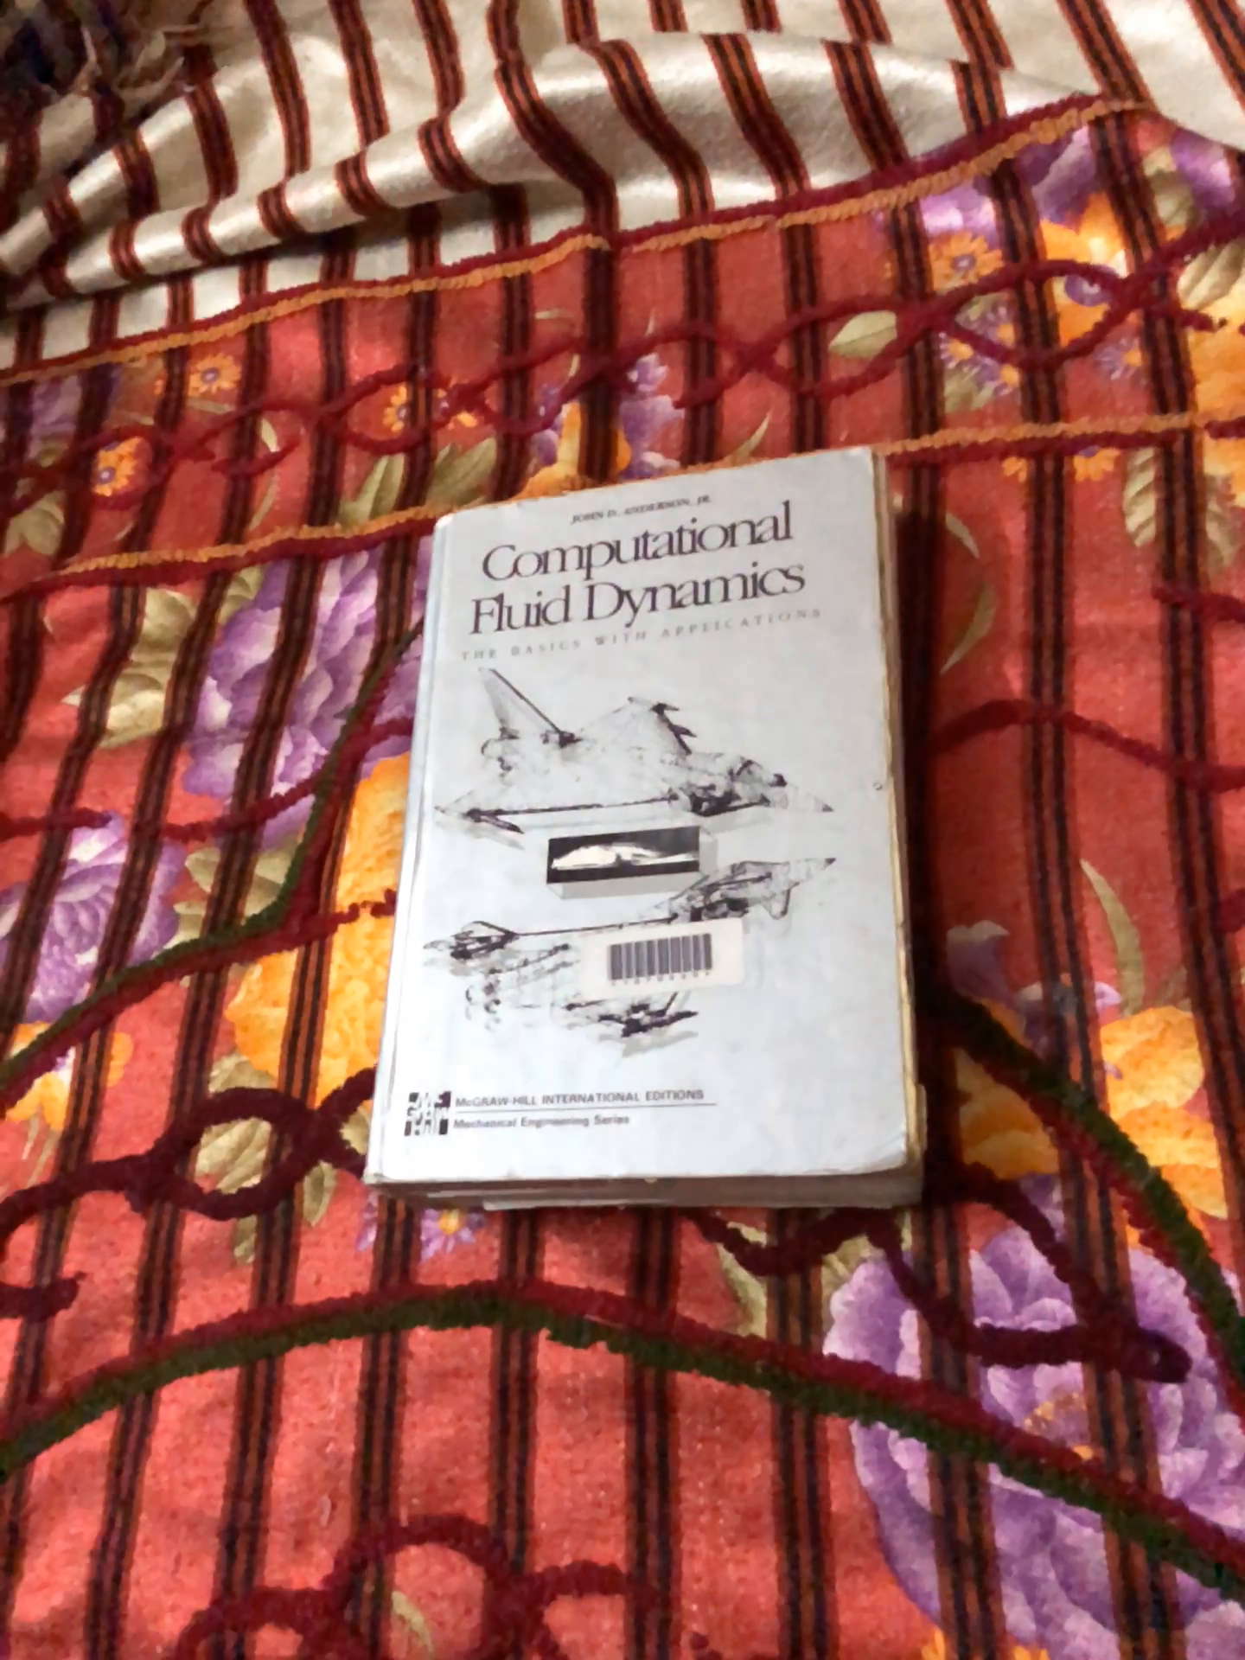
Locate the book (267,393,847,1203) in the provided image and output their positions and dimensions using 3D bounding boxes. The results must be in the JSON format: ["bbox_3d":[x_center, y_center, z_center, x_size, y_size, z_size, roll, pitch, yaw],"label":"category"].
[{"bbox_3d":[-0.015,-0.011,0.455,0.160,0.060,0.250,-5,66,16],"label":"book"}]
